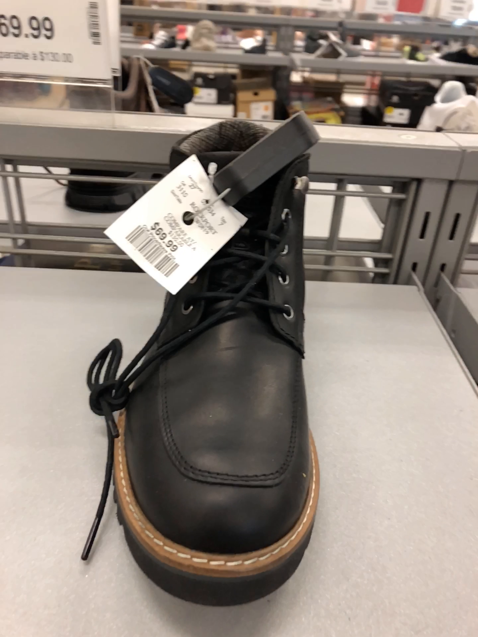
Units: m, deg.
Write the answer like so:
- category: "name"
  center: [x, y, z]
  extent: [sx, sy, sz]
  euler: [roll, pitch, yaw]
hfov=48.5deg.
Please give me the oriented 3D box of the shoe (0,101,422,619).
- category: "shoe"
  center: [-0.016, -0.011, 0.300]
  extent: [0.120, 0.139, 0.282]
  euler: [2, 36, -3]
